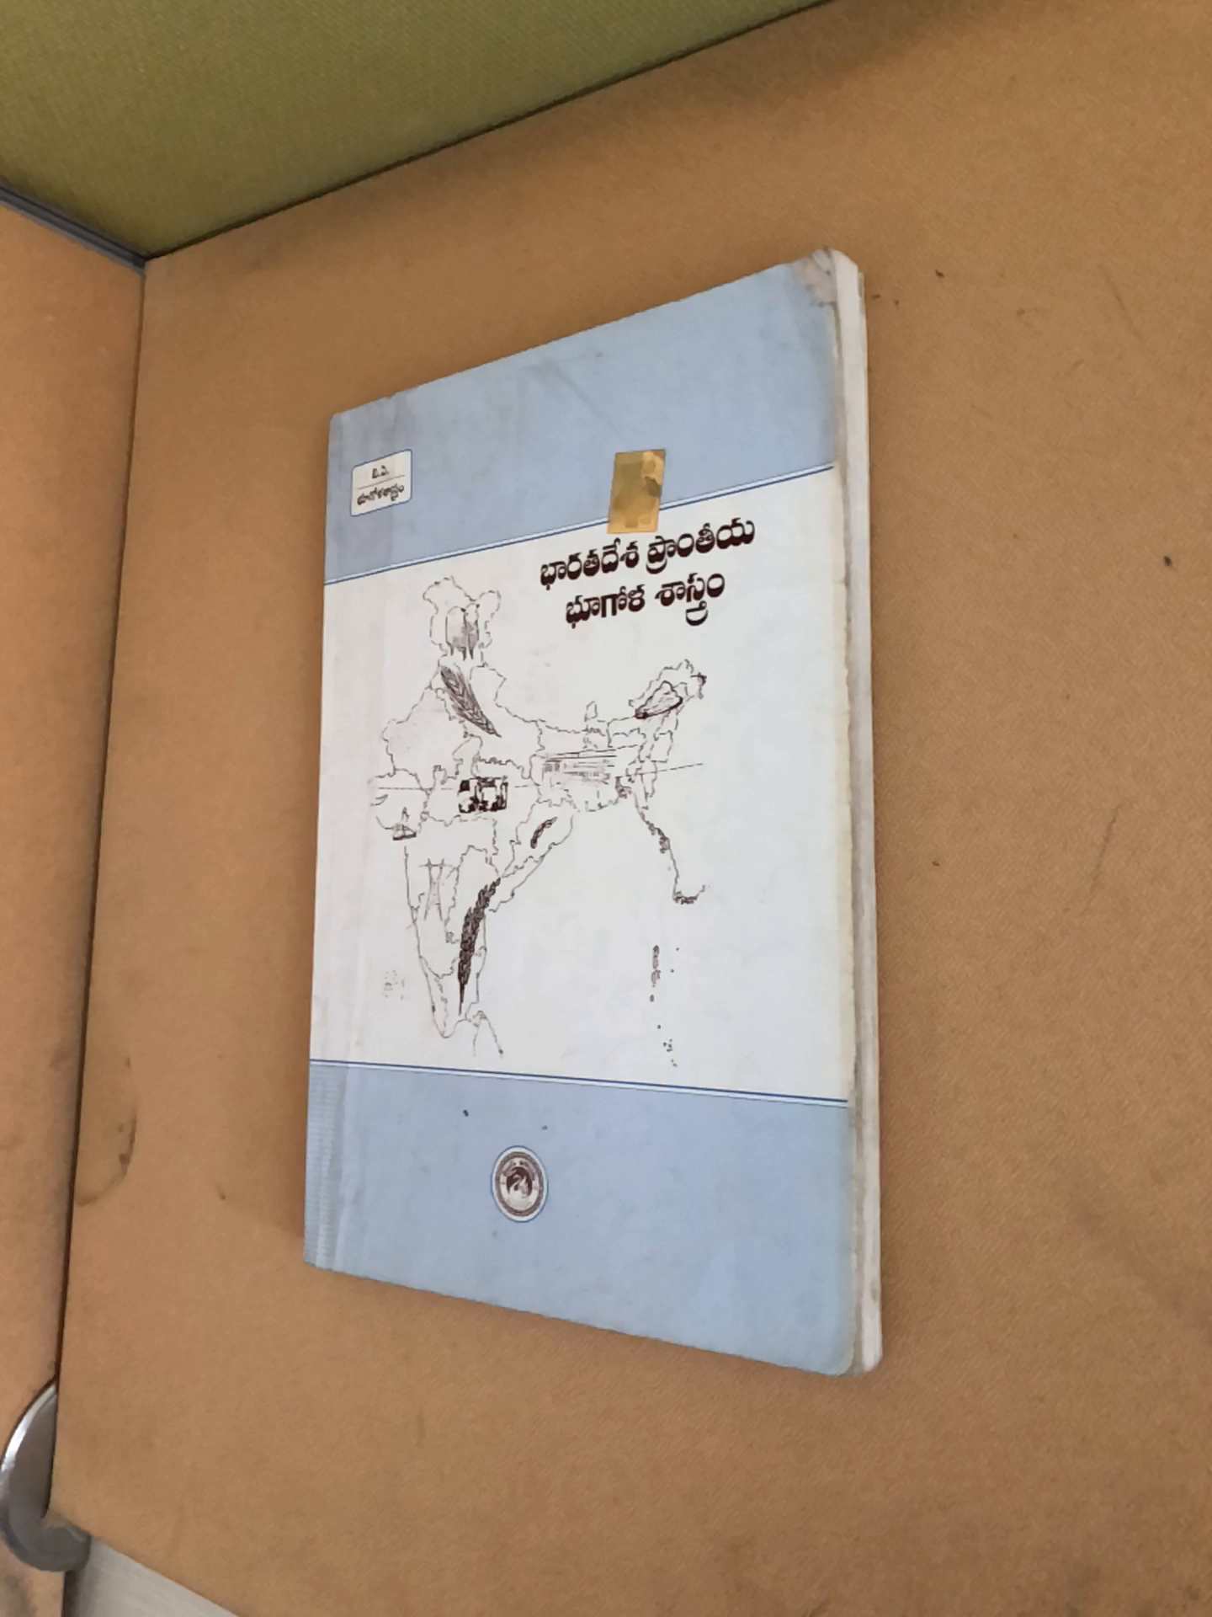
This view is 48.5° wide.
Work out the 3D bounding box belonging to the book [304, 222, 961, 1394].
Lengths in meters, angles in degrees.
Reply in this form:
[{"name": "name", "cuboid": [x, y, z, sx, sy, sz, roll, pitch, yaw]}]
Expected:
[{"name": "book", "cuboid": [-0.002, 0.000, 0.351, 0.181, 0.030, 0.250, -4, 82, 36]}]
